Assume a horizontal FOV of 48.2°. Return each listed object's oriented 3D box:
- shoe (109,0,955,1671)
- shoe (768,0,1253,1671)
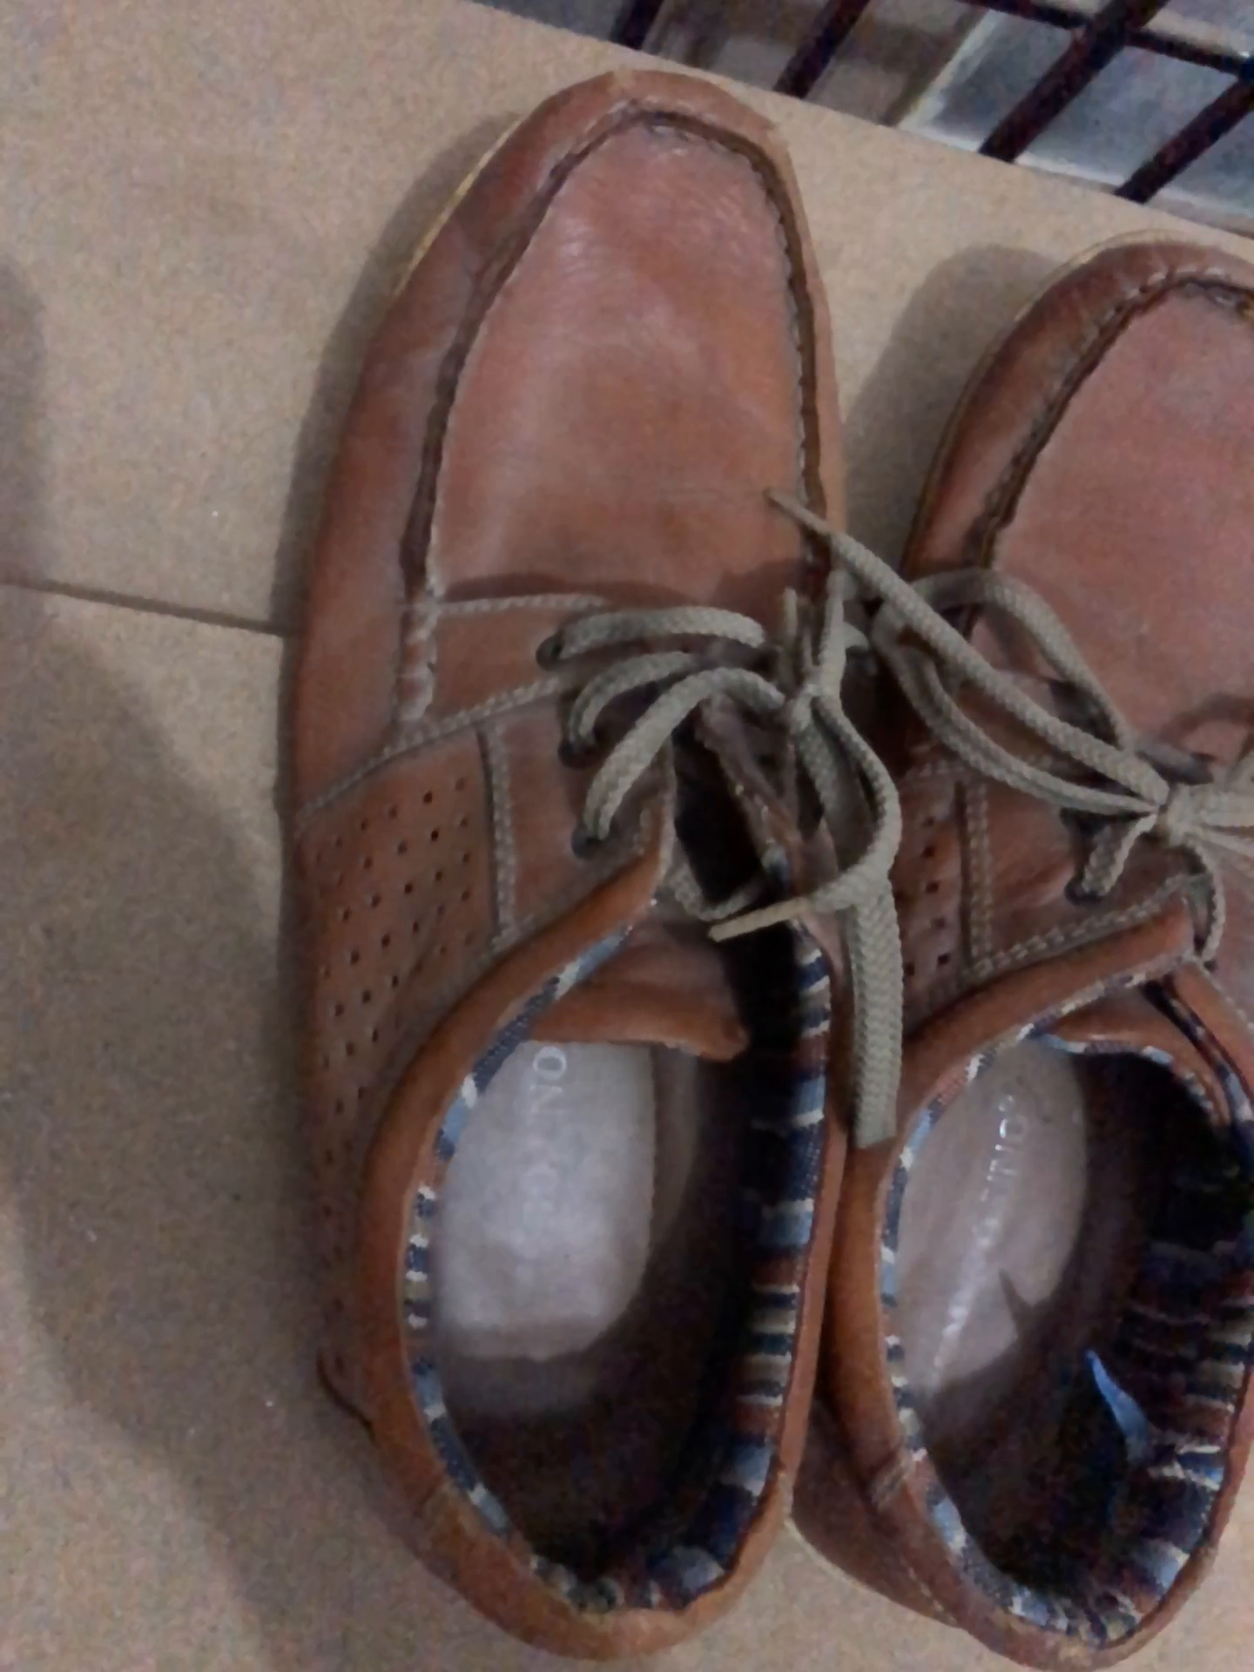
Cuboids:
[{"bbox_3d":[-0.010,-0.022,0.249,0.100,0.100,0.287,5,79,-7],"label":"shoe"},{"bbox_3d":[0.105,-0.001,0.265,0.100,0.100,0.280,10,77,-5],"label":"shoe"}]
